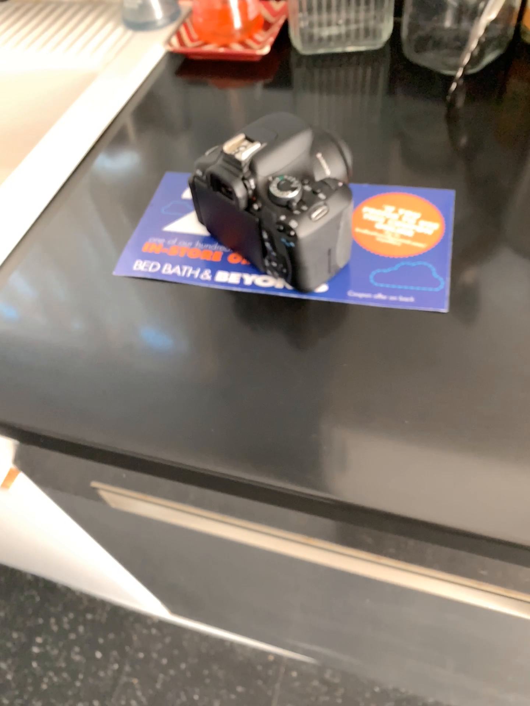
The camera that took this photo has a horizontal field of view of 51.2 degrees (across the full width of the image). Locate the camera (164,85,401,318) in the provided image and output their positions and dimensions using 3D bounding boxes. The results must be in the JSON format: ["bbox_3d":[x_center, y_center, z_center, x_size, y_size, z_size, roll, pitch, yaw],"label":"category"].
[{"bbox_3d":[0.013,-0.119,0.423,0.103,0.088,0.133,-38,58,-20],"label":"camera"}]
